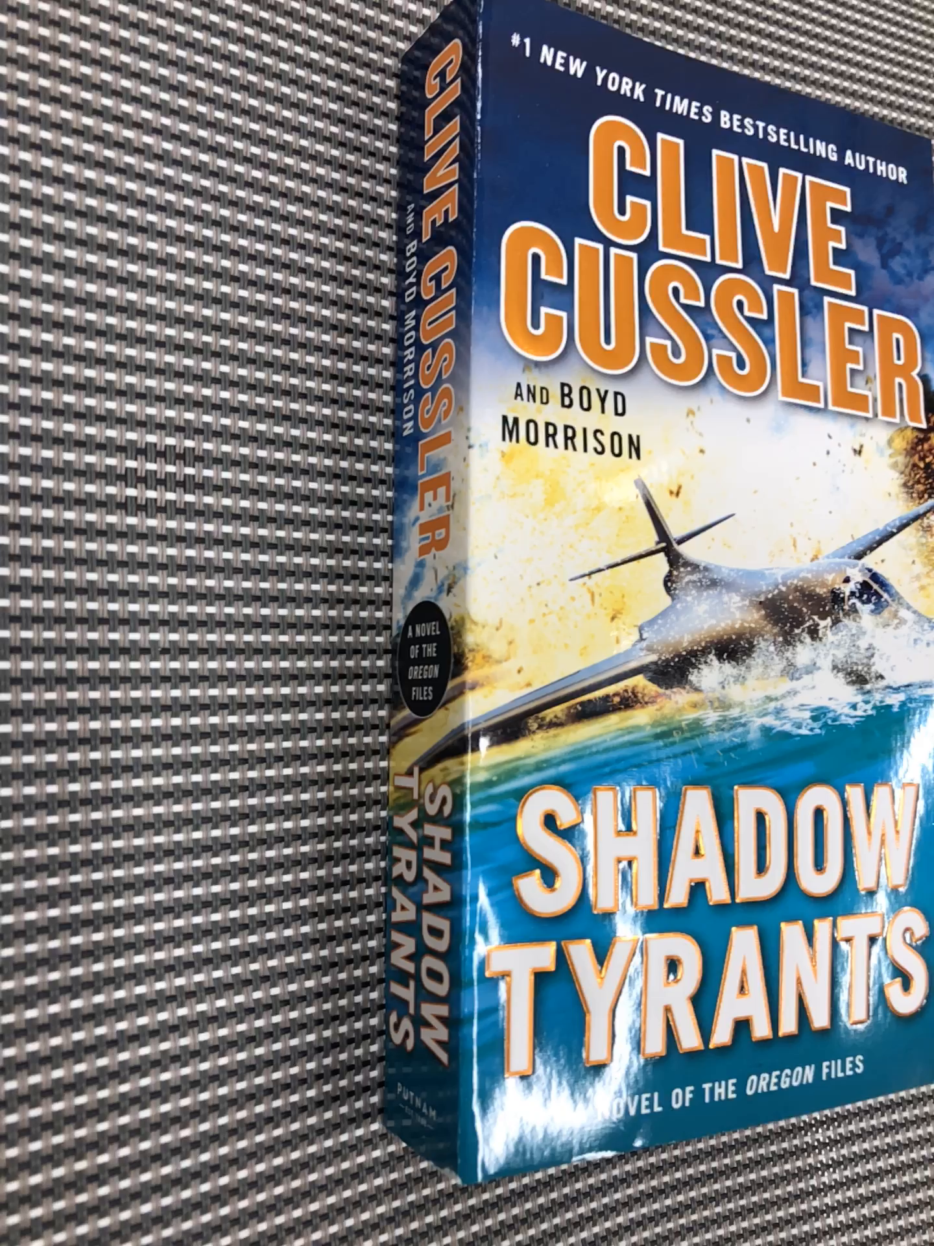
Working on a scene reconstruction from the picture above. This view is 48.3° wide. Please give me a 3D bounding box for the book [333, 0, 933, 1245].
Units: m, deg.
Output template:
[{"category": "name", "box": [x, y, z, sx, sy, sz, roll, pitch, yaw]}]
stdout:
[{"category": "book", "box": [0.045, -0.003, 0.197, 0.120, 0.060, 0.180, 5, 83, -28]}]
